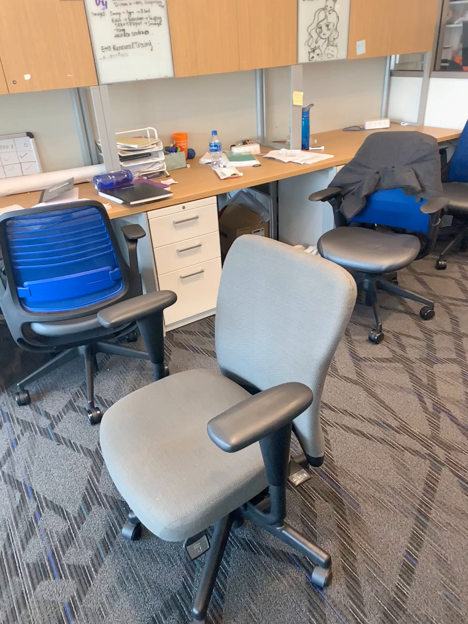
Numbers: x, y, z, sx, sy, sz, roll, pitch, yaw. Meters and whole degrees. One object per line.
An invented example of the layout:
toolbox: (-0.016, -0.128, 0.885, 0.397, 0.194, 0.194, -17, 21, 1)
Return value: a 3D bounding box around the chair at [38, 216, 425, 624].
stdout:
chair: (-0.032, 0.281, 1.314, 0.661, 0.813, 0.674, -18, 32, -25)
